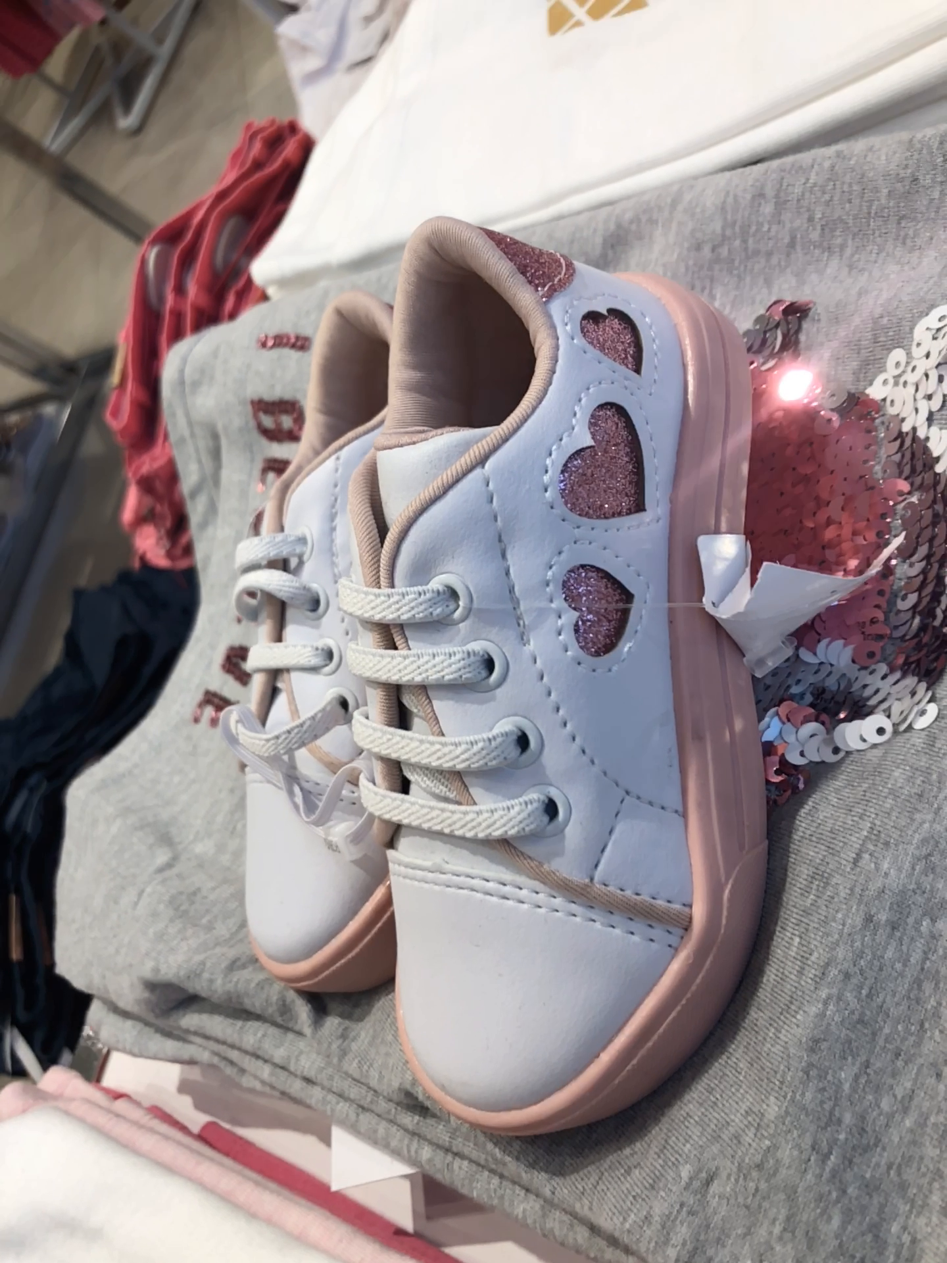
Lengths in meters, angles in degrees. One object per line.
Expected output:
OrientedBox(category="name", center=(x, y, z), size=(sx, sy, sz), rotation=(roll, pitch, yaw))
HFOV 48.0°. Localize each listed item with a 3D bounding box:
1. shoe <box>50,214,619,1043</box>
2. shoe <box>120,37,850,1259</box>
OrientedBox(category="shoe", center=(-0.029, 0.001, 0.237), size=(0.070, 0.070, 0.150), rotation=(5, 82, 44))
OrientedBox(category="shoe", center=(0.008, 0.003, 0.175), size=(0.070, 0.070, 0.150), rotation=(-3, 73, 42))
